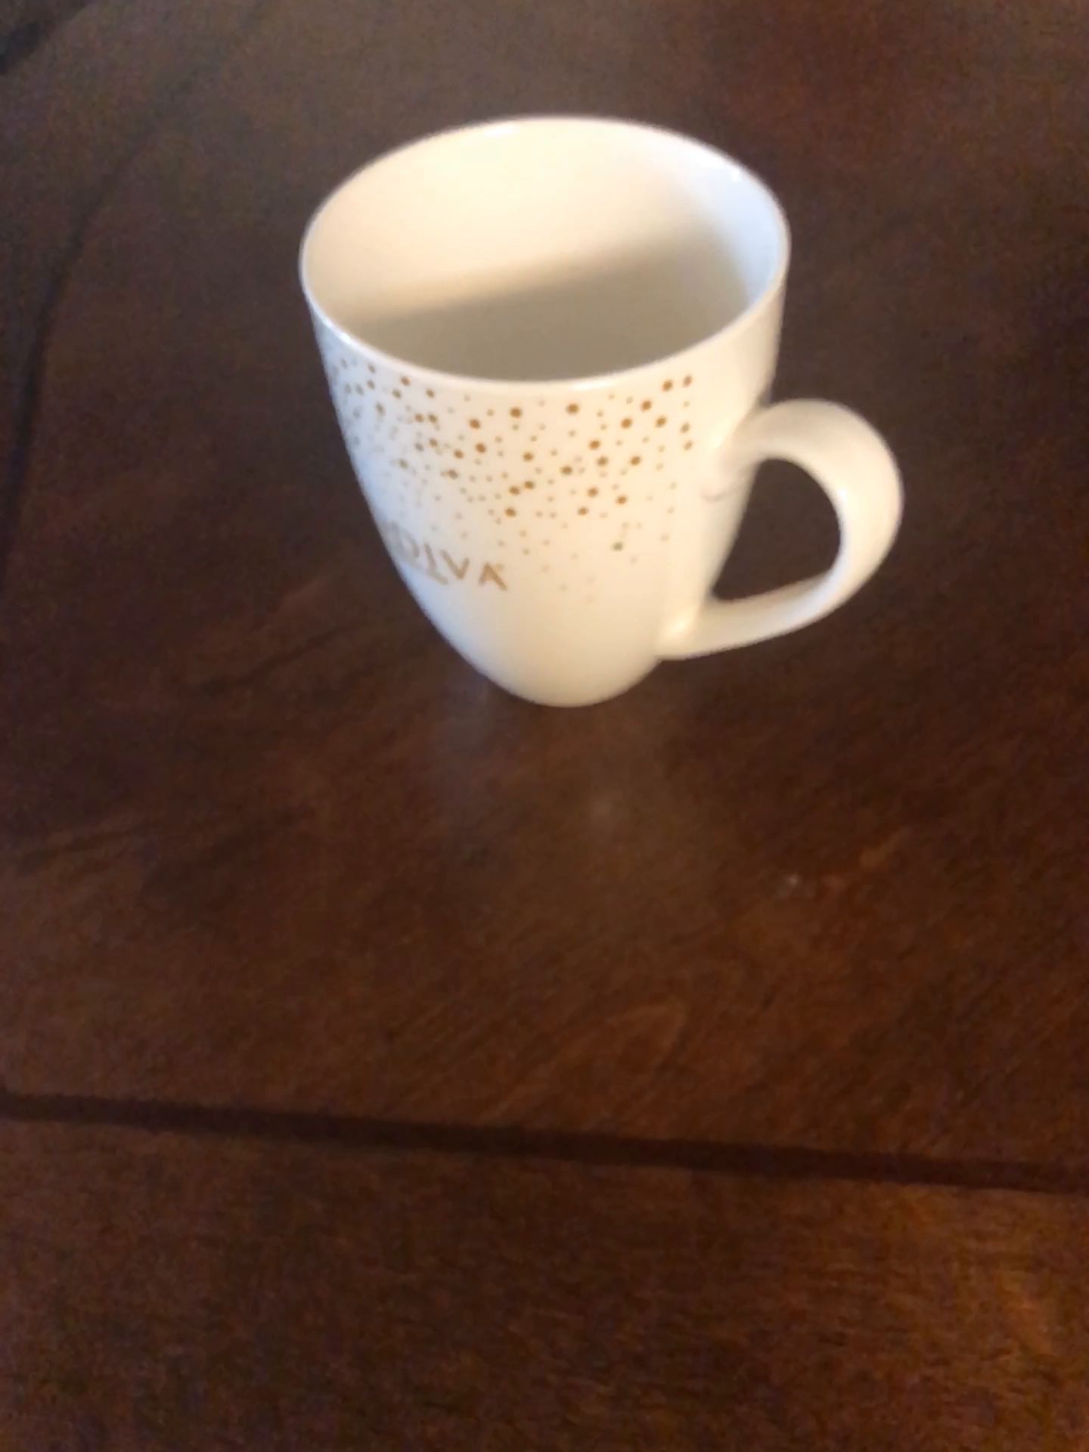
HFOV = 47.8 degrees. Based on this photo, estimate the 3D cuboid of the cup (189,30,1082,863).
[{"bbox_3d":[0.017,-0.067,0.277,0.140,0.099,0.100,34,63,25],"label":"cup"}]
